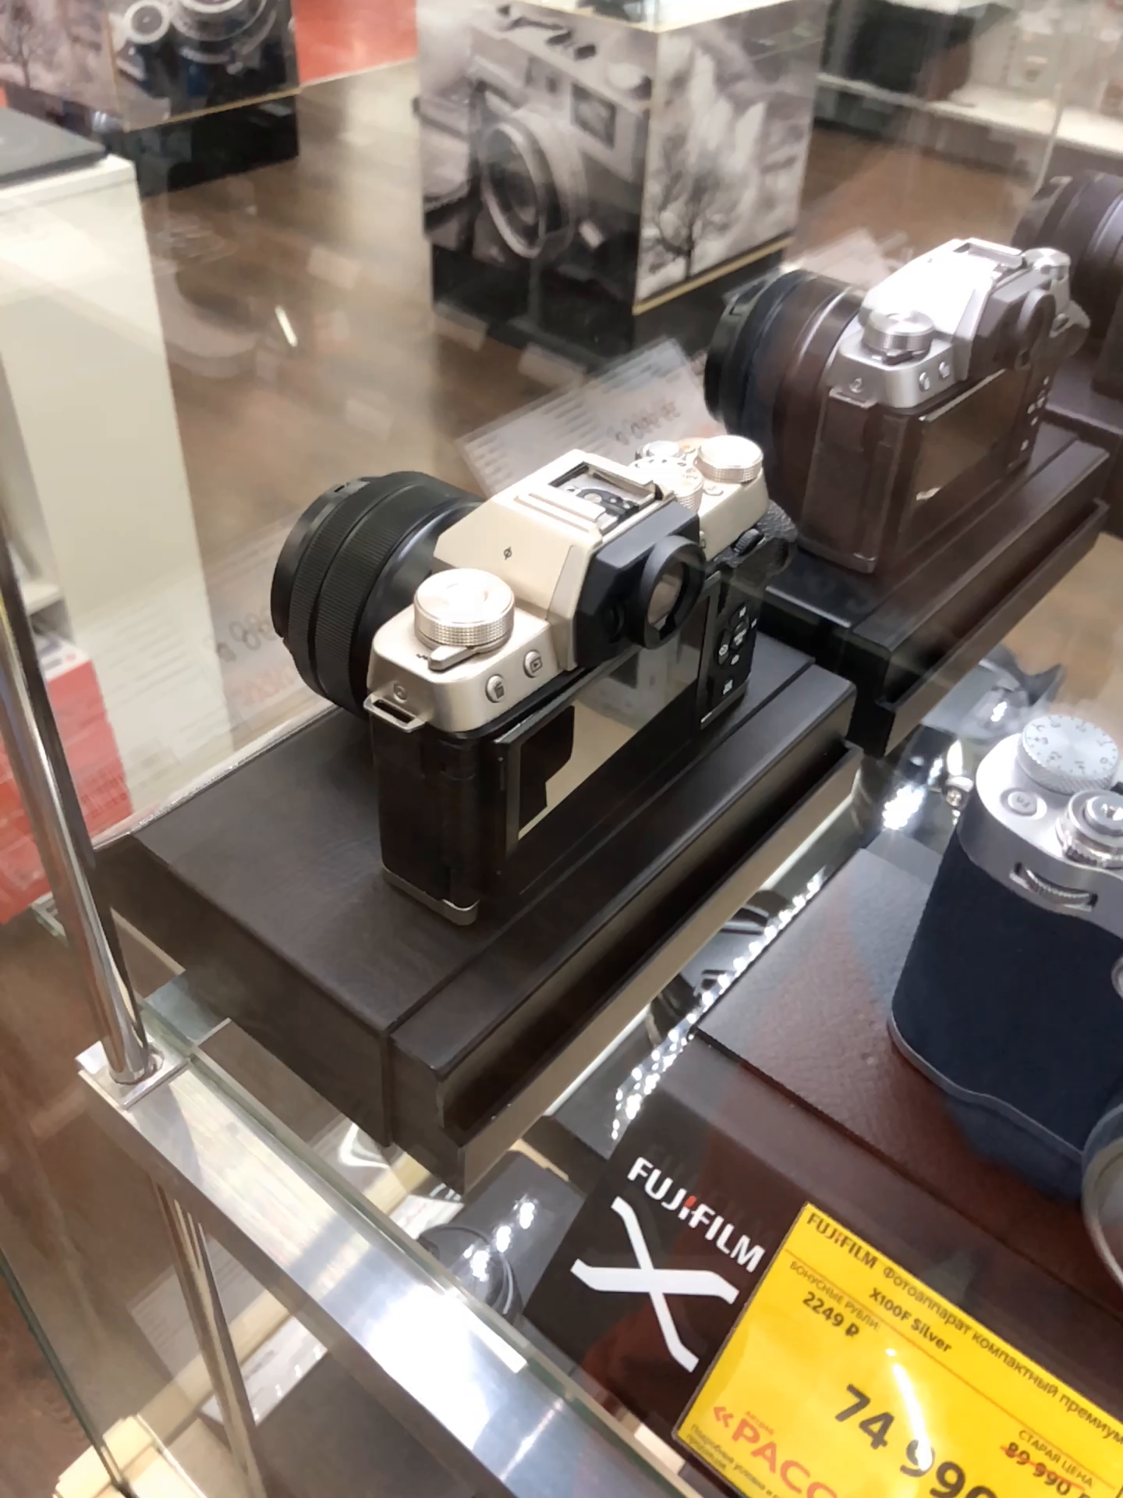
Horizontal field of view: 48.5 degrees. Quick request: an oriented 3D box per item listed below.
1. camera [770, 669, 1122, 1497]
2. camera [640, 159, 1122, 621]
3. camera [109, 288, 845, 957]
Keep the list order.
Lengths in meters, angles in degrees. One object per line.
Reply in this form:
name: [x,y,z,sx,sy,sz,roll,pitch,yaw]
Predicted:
camera: [0.111,0.057,0.211,0.132,0.076,0.055,33,48,29]
camera: [0.113,-0.128,0.421,0.102,0.086,0.141,30,47,27]
camera: [-0.015,-0.040,0.301,0.100,0.080,0.132,29,47,26]
